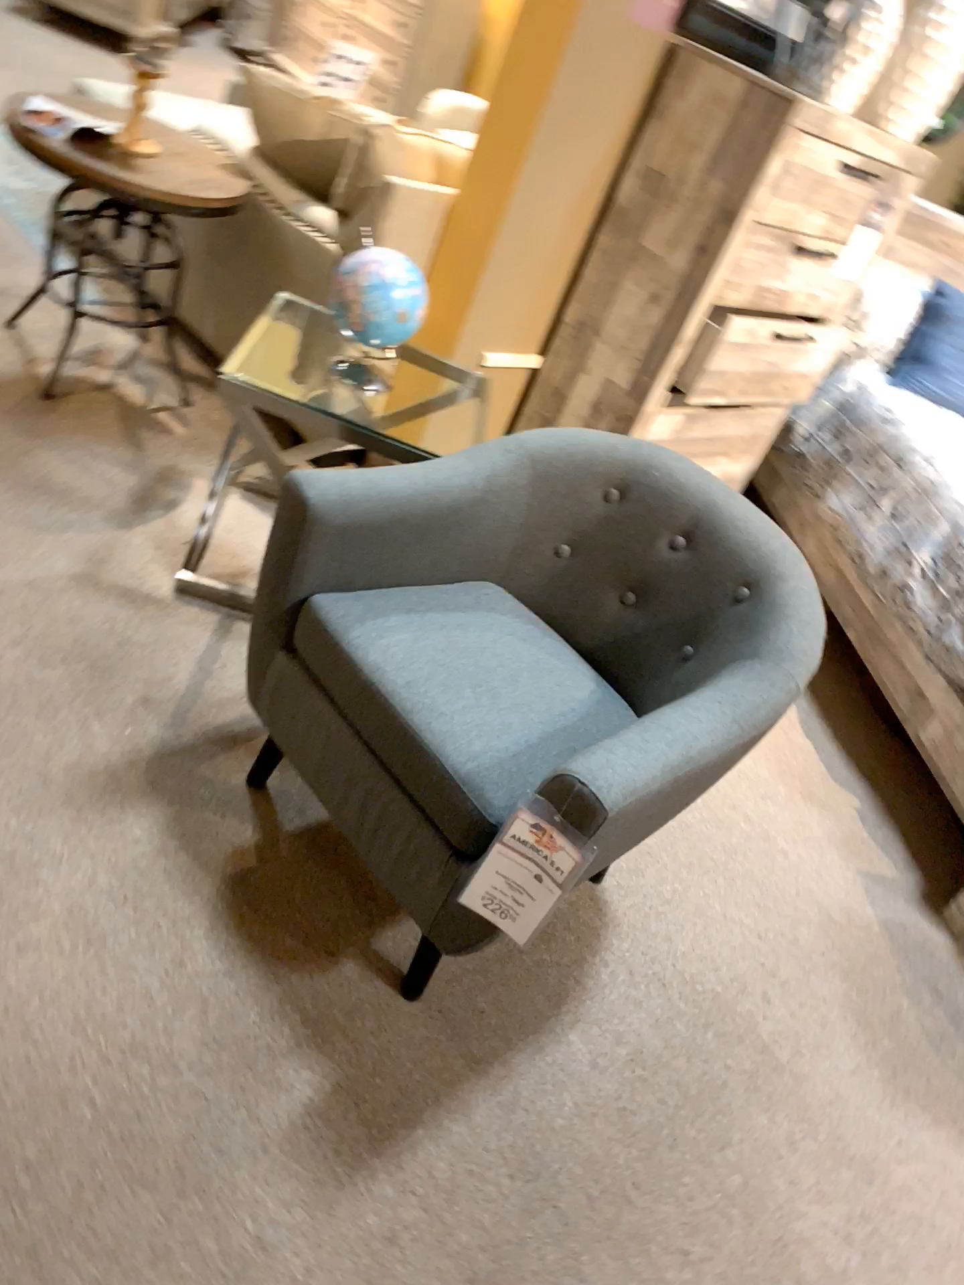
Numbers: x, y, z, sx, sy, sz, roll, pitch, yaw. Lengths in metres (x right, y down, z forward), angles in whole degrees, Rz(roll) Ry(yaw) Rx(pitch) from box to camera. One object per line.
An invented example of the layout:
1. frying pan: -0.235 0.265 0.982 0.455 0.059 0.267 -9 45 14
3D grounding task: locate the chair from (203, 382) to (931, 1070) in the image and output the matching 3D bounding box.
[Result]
1. chair: 0.101 0.065 1.679 0.744 0.701 0.748 -13 49 -43
